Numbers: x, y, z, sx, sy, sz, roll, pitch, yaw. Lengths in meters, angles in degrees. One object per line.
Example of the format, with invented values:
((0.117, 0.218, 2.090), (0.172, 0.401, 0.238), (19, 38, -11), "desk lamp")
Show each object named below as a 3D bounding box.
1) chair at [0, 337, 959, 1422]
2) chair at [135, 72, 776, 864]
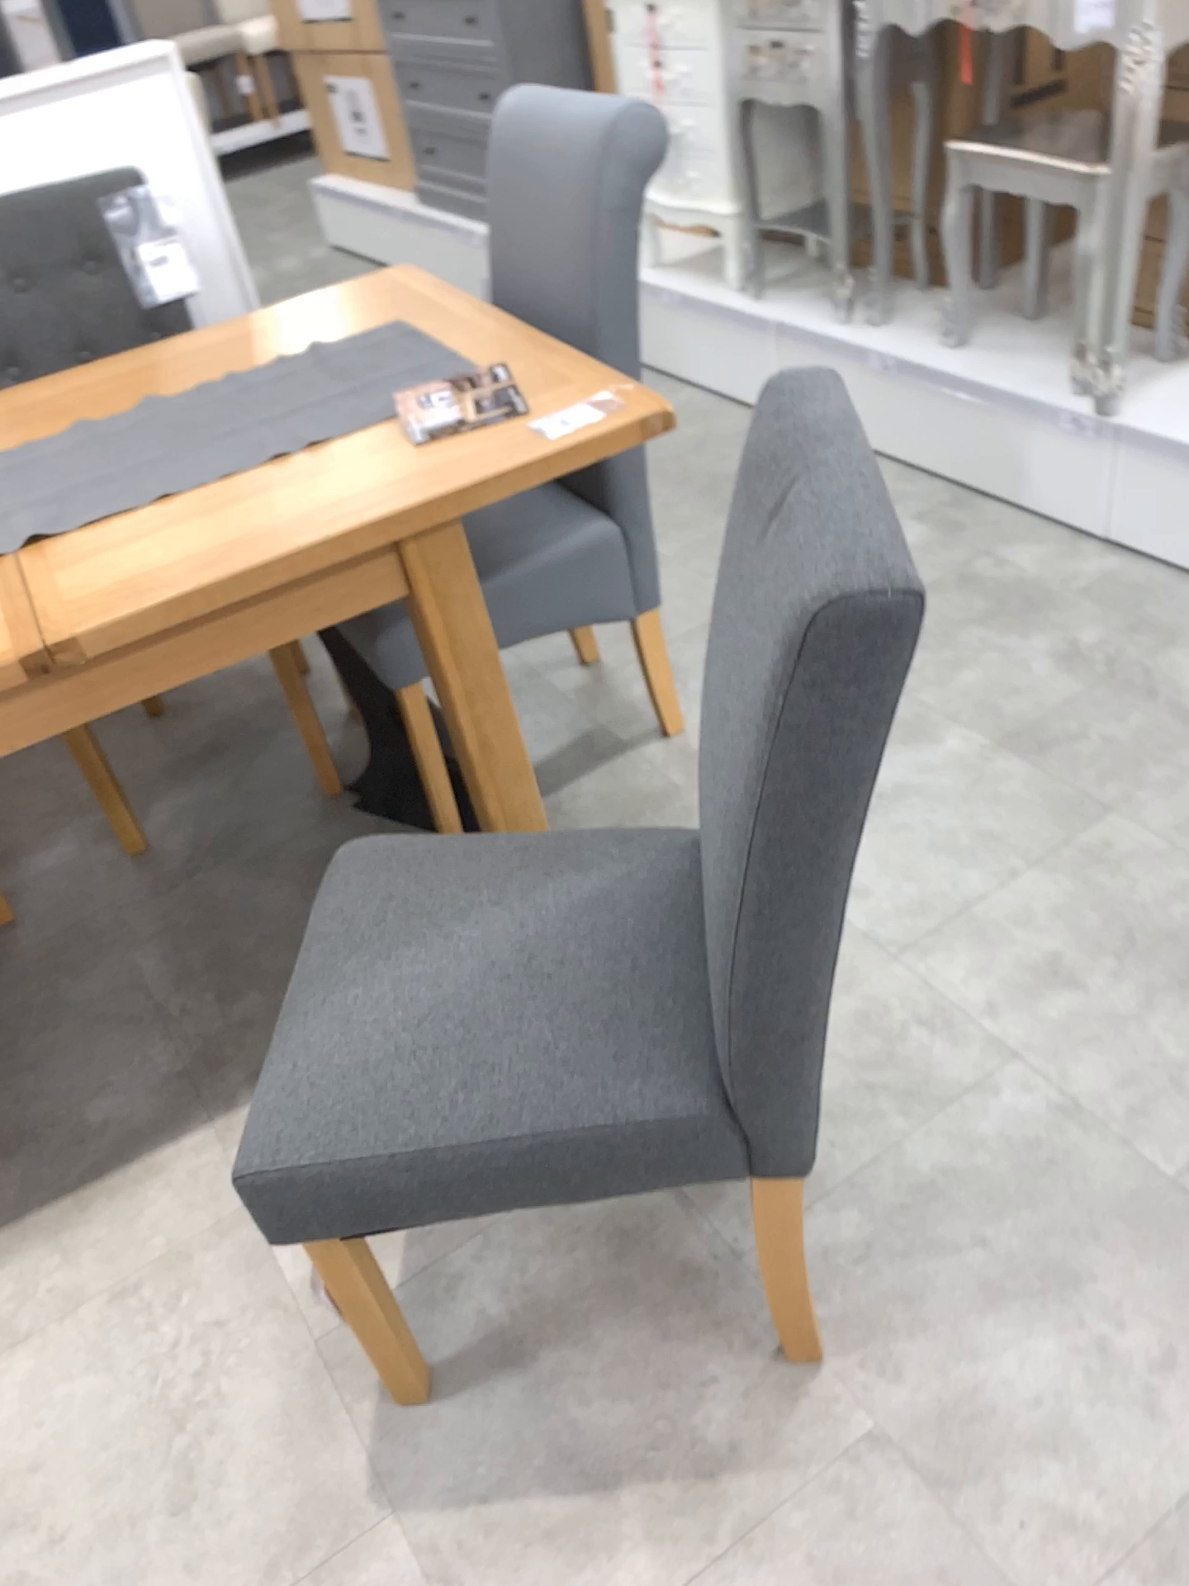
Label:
((-0.055, 0.132, 1.097), (0.642, 0.830, 0.448), (-6, 39, 7), "chair")
((-0.161, -0.495, 1.857), (0.623, 0.899, 0.508), (-27, 41, -18), "chair")
